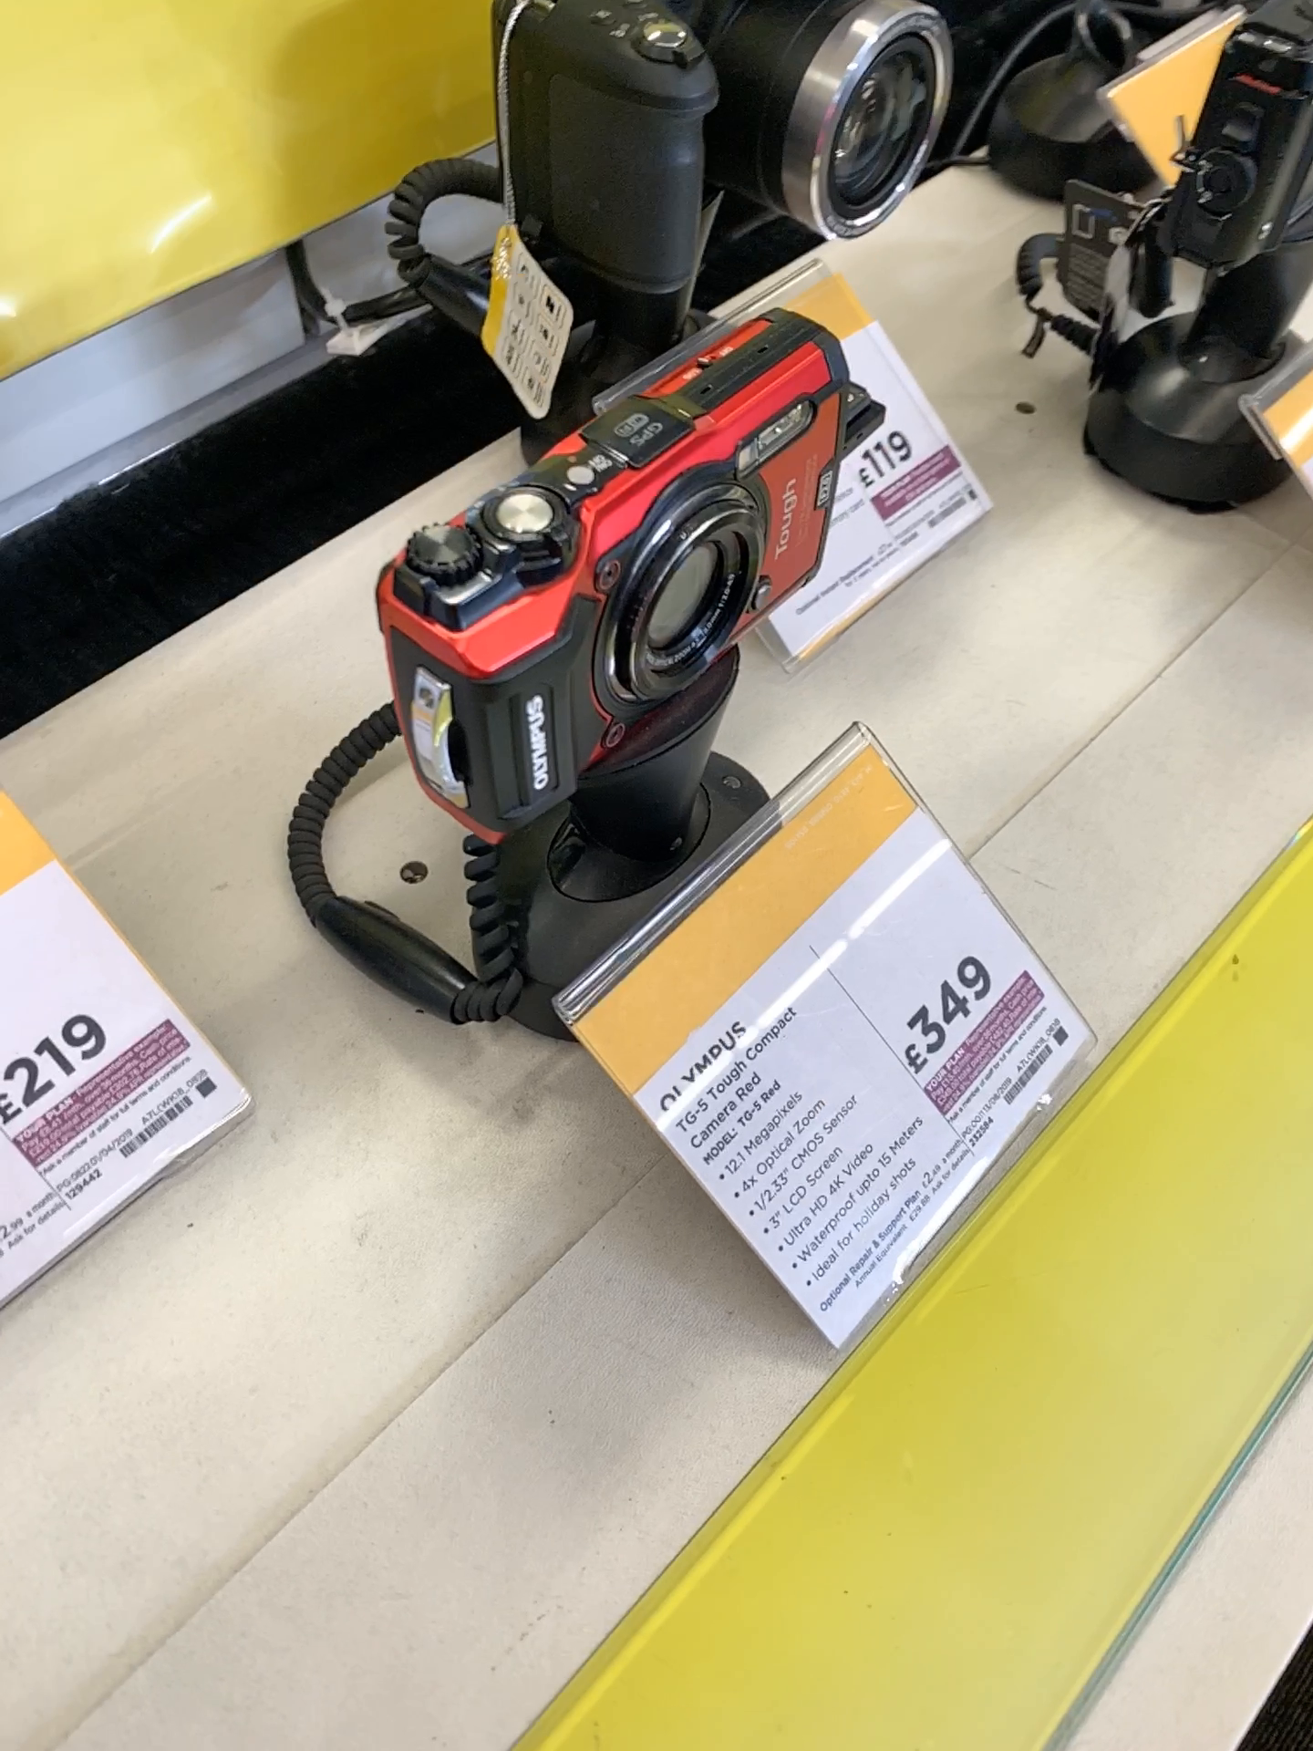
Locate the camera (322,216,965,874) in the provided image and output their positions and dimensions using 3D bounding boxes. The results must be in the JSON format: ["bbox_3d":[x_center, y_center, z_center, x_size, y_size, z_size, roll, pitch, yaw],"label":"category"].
[{"bbox_3d":[0.002,-0.065,0.255,0.040,0.060,0.121,36,61,21],"label":"camera"}]
